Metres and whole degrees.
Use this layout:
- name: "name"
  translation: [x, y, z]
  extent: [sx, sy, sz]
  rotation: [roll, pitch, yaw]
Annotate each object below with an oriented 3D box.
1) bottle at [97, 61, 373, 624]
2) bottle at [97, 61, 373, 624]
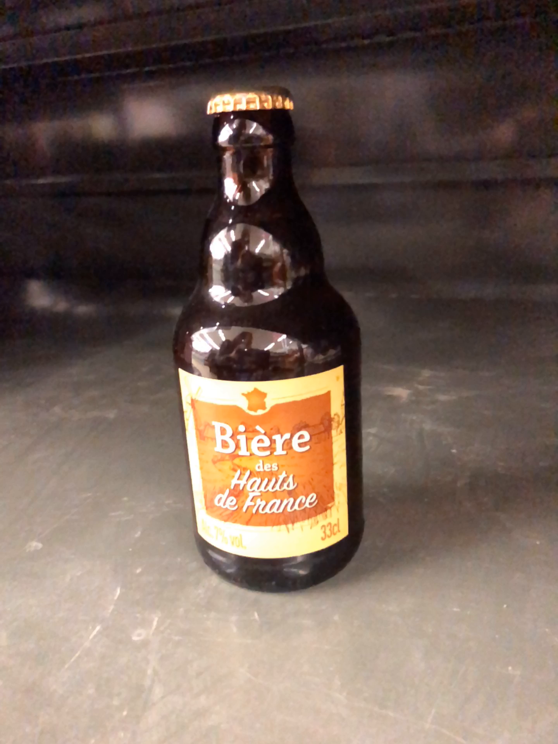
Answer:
- name: "bottle"
  translation: [-0.004, -0.008, 0.229]
  extent: [0.070, 0.179, 0.070]
  rotation: [-4, 19, 1]
- name: "bottle"
  translation: [-0.004, -0.008, 0.229]
  extent: [0.070, 0.179, 0.070]
  rotation: [-4, 19, 1]
